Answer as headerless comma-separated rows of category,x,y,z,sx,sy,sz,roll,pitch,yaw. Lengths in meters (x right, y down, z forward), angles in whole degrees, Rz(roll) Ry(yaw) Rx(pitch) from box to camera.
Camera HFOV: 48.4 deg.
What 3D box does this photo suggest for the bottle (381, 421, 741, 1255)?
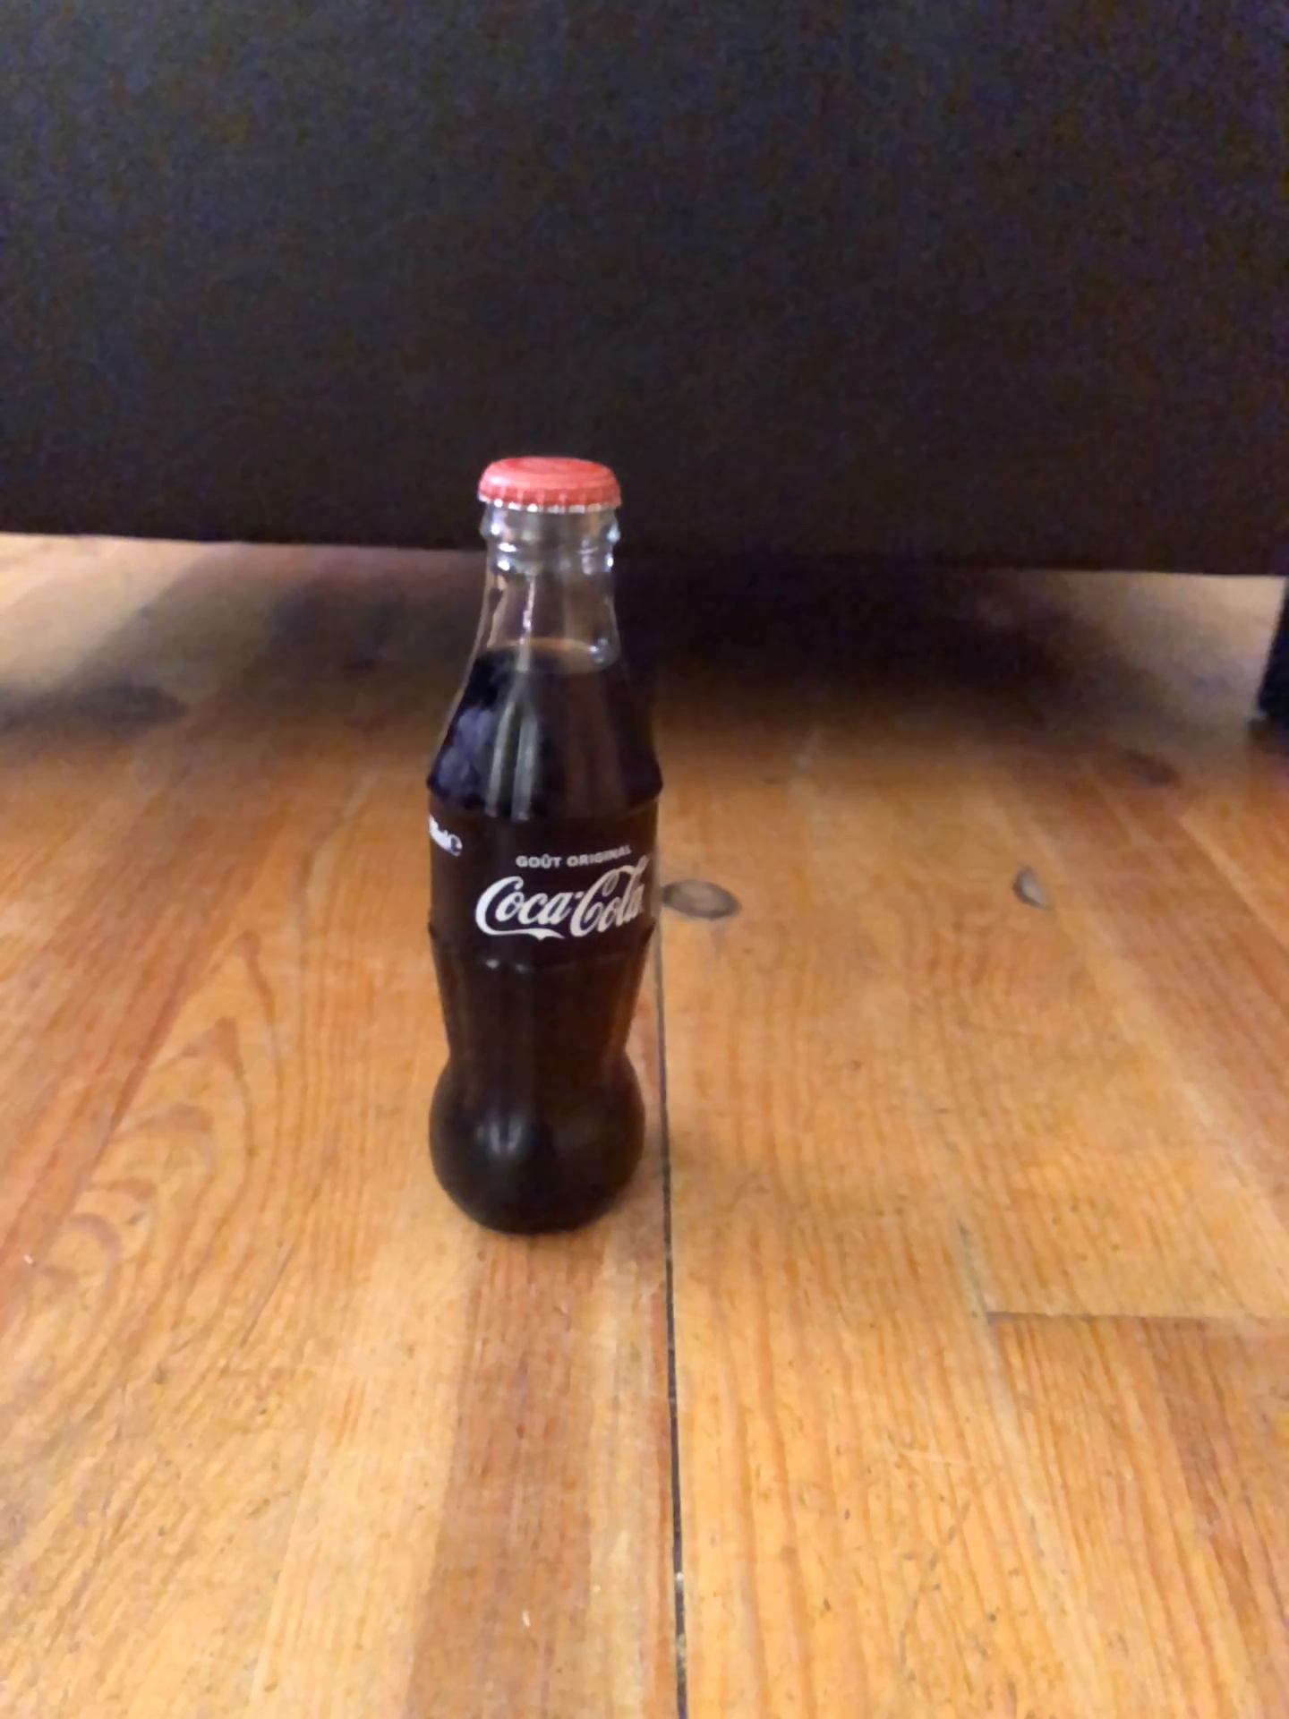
bottle,-0.022,-0.004,0.315,0.060,0.169,0.060,2,25,-1
